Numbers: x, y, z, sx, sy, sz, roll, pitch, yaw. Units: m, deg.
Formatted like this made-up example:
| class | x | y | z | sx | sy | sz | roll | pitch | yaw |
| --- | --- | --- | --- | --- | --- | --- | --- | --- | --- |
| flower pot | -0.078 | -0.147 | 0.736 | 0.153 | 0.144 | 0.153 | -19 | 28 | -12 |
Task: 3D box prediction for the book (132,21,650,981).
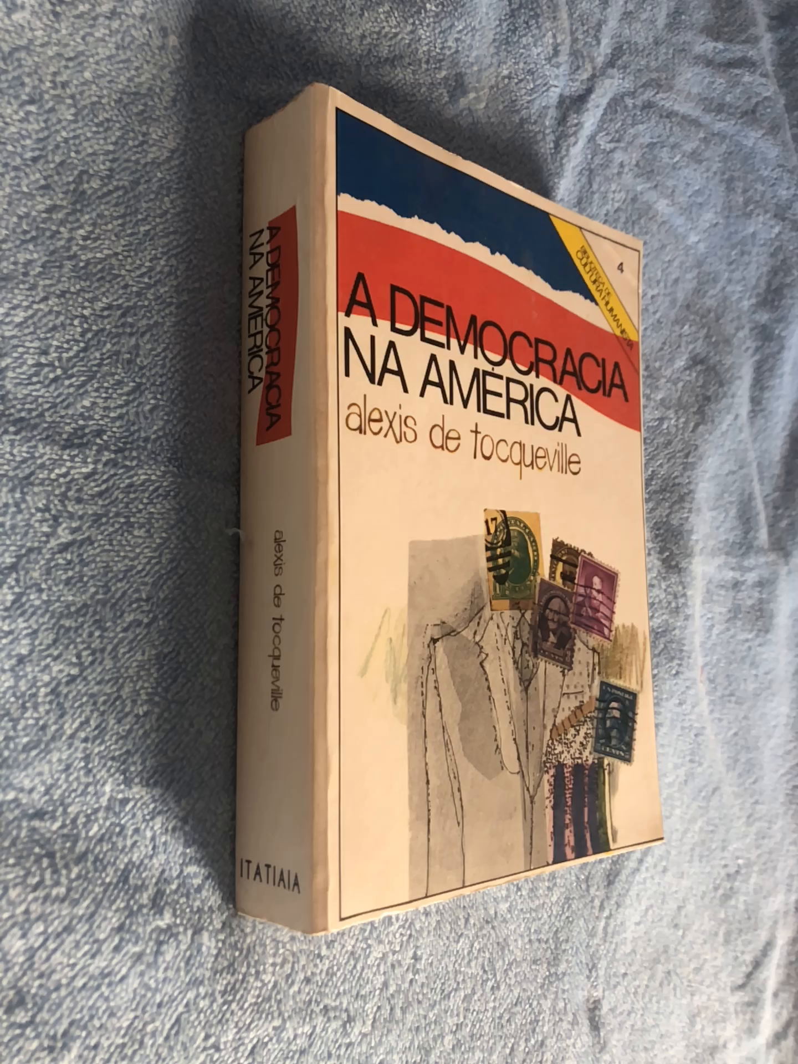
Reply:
| class | x | y | z | sx | sy | sz | roll | pitch | yaw |
| --- | --- | --- | --- | --- | --- | --- | --- | --- | --- |
| book | 0.009 | -0.004 | 0.249 | 0.141 | 0.050 | 0.200 | 7 | 82 | -42 |
